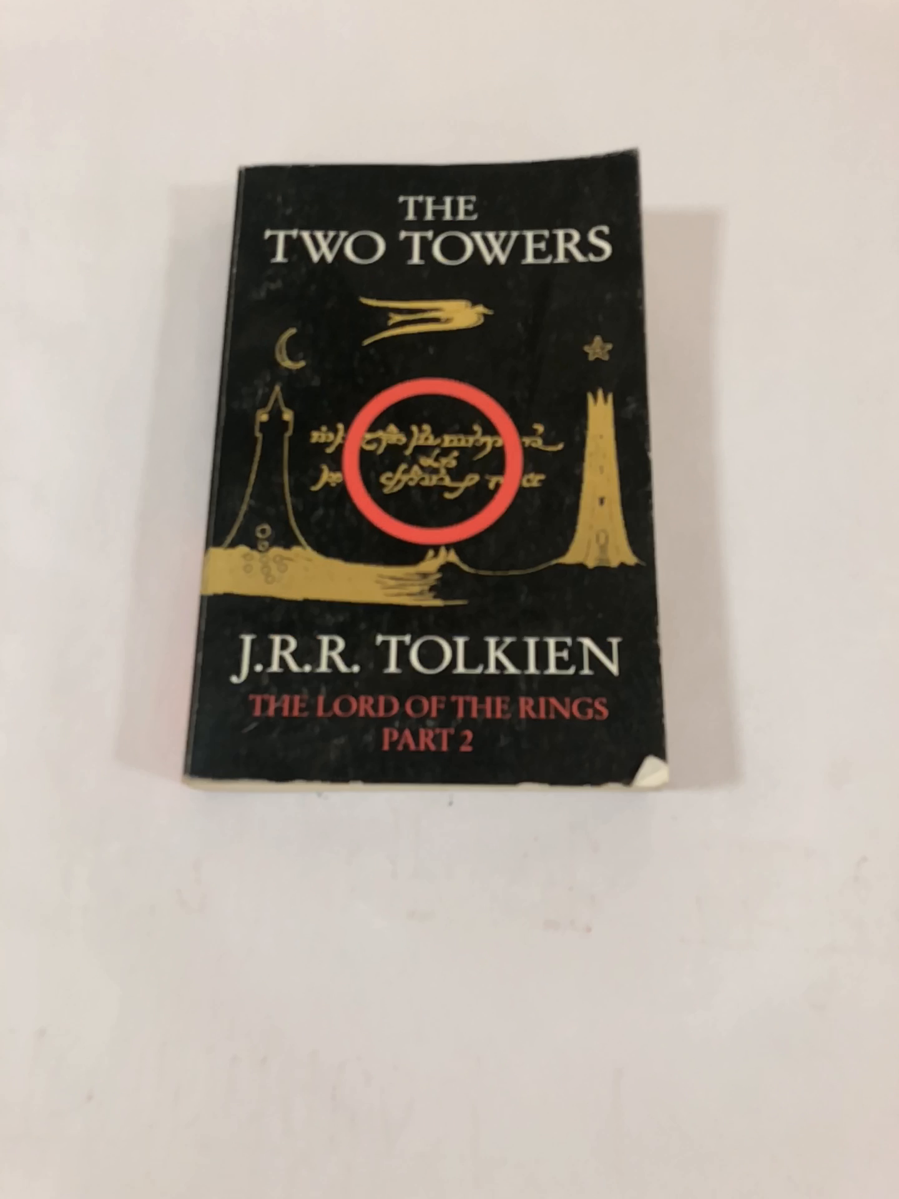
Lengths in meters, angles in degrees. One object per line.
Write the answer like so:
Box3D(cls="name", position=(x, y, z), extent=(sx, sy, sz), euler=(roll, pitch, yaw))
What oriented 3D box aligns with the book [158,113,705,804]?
Box3D(cls="book", position=(-0.004, -0.046, 0.281), extent=(0.130, 0.030, 0.200), euler=(0, 72, -1))
